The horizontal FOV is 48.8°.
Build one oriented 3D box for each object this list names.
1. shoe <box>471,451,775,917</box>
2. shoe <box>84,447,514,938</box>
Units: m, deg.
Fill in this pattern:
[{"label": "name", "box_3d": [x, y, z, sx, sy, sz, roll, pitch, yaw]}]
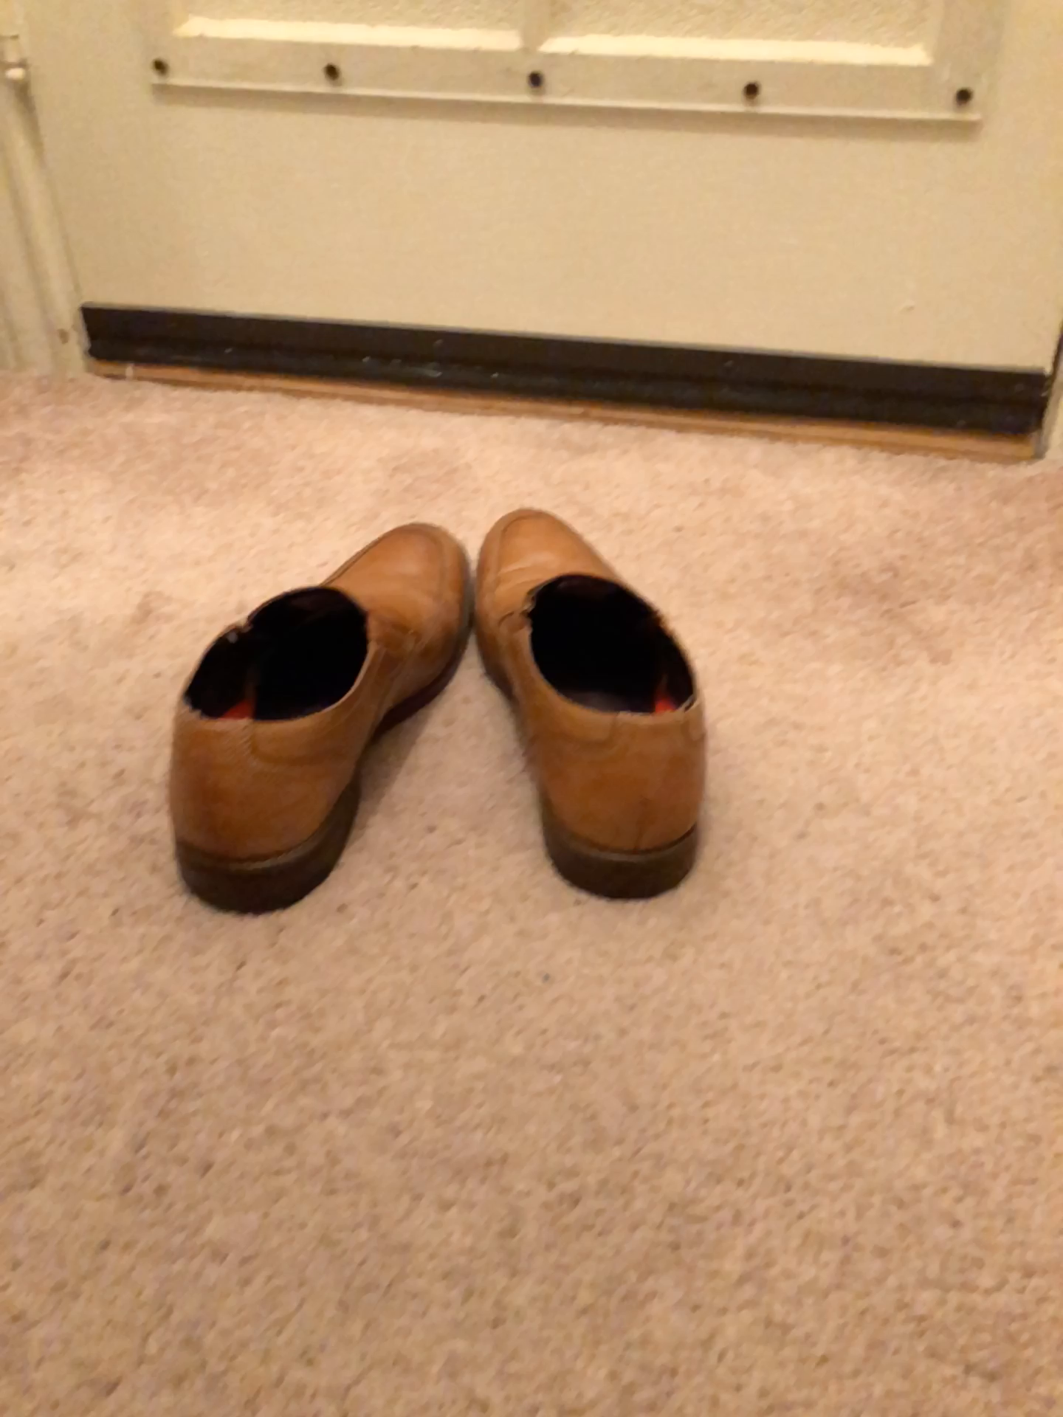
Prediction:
[{"label": "shoe", "box_3d": [0.031, -0.035, 0.627, 0.107, 0.089, 0.312, -4, 34, -4]}, {"label": "shoe", "box_3d": [-0.096, -0.033, 0.619, 0.100, 0.089, 0.322, 8, 35, 10]}]
